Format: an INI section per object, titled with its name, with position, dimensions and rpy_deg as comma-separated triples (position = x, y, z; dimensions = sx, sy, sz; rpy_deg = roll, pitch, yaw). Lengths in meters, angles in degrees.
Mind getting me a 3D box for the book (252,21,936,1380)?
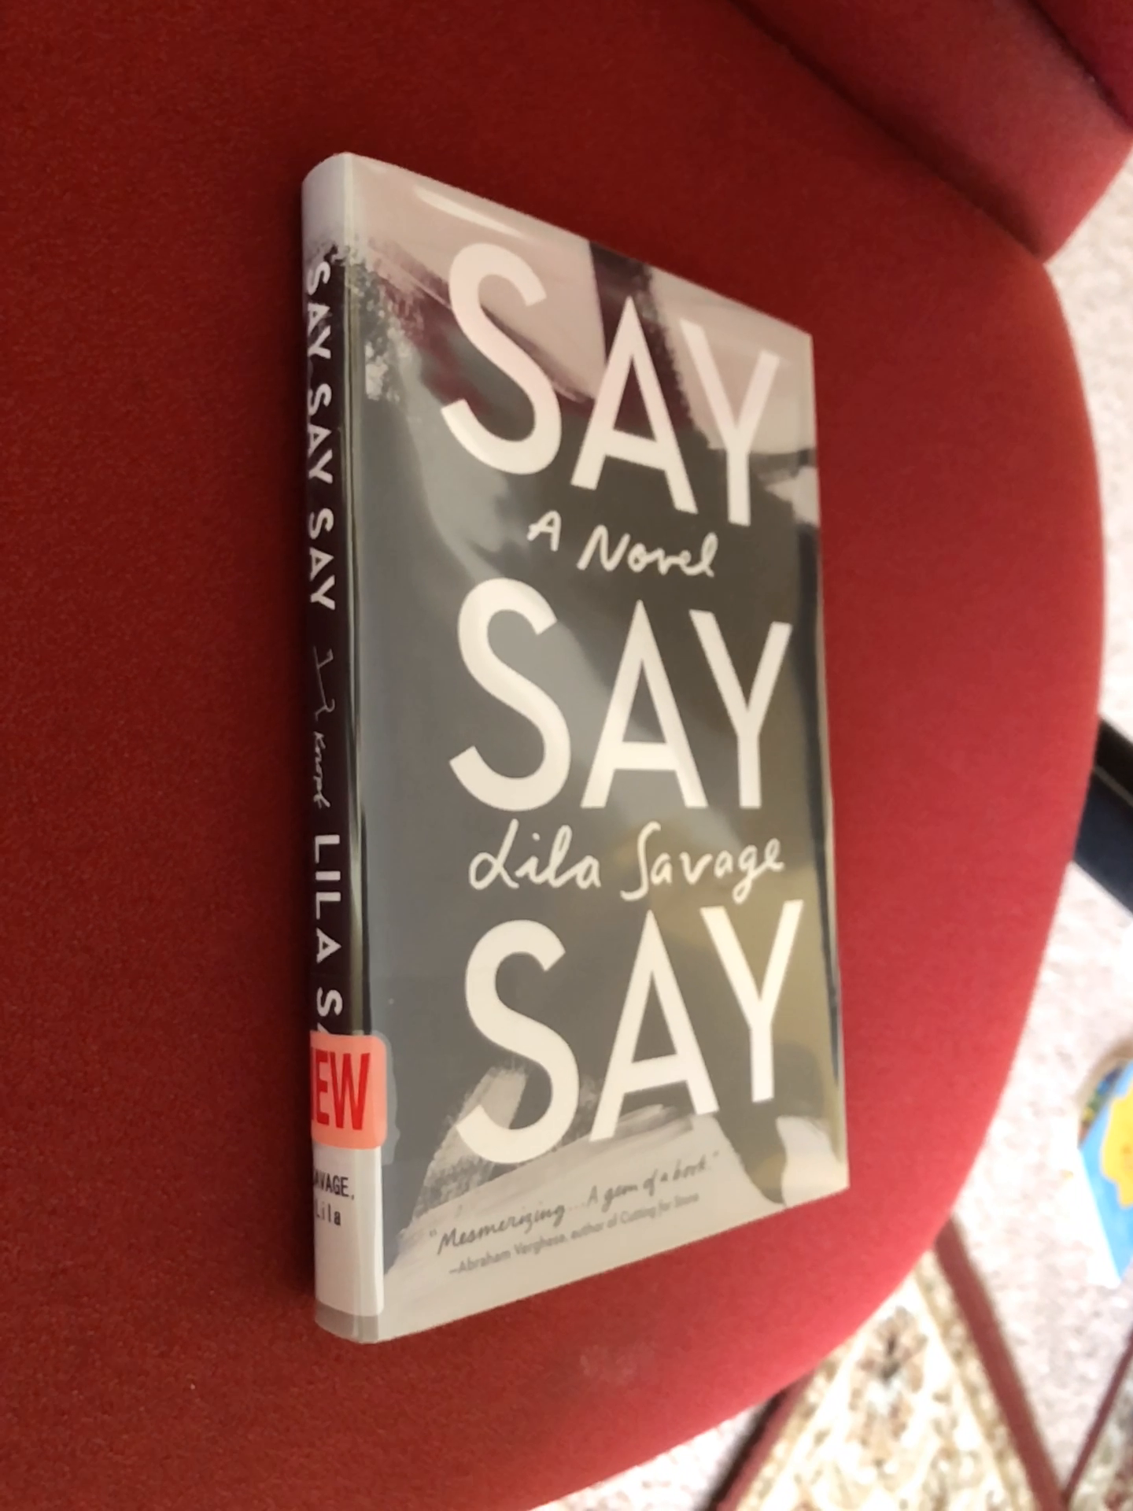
[book]
position = 0.016, -0.007, 0.263
dimensions = 0.151, 0.040, 0.210
rpy_deg = 1, 91, -44
